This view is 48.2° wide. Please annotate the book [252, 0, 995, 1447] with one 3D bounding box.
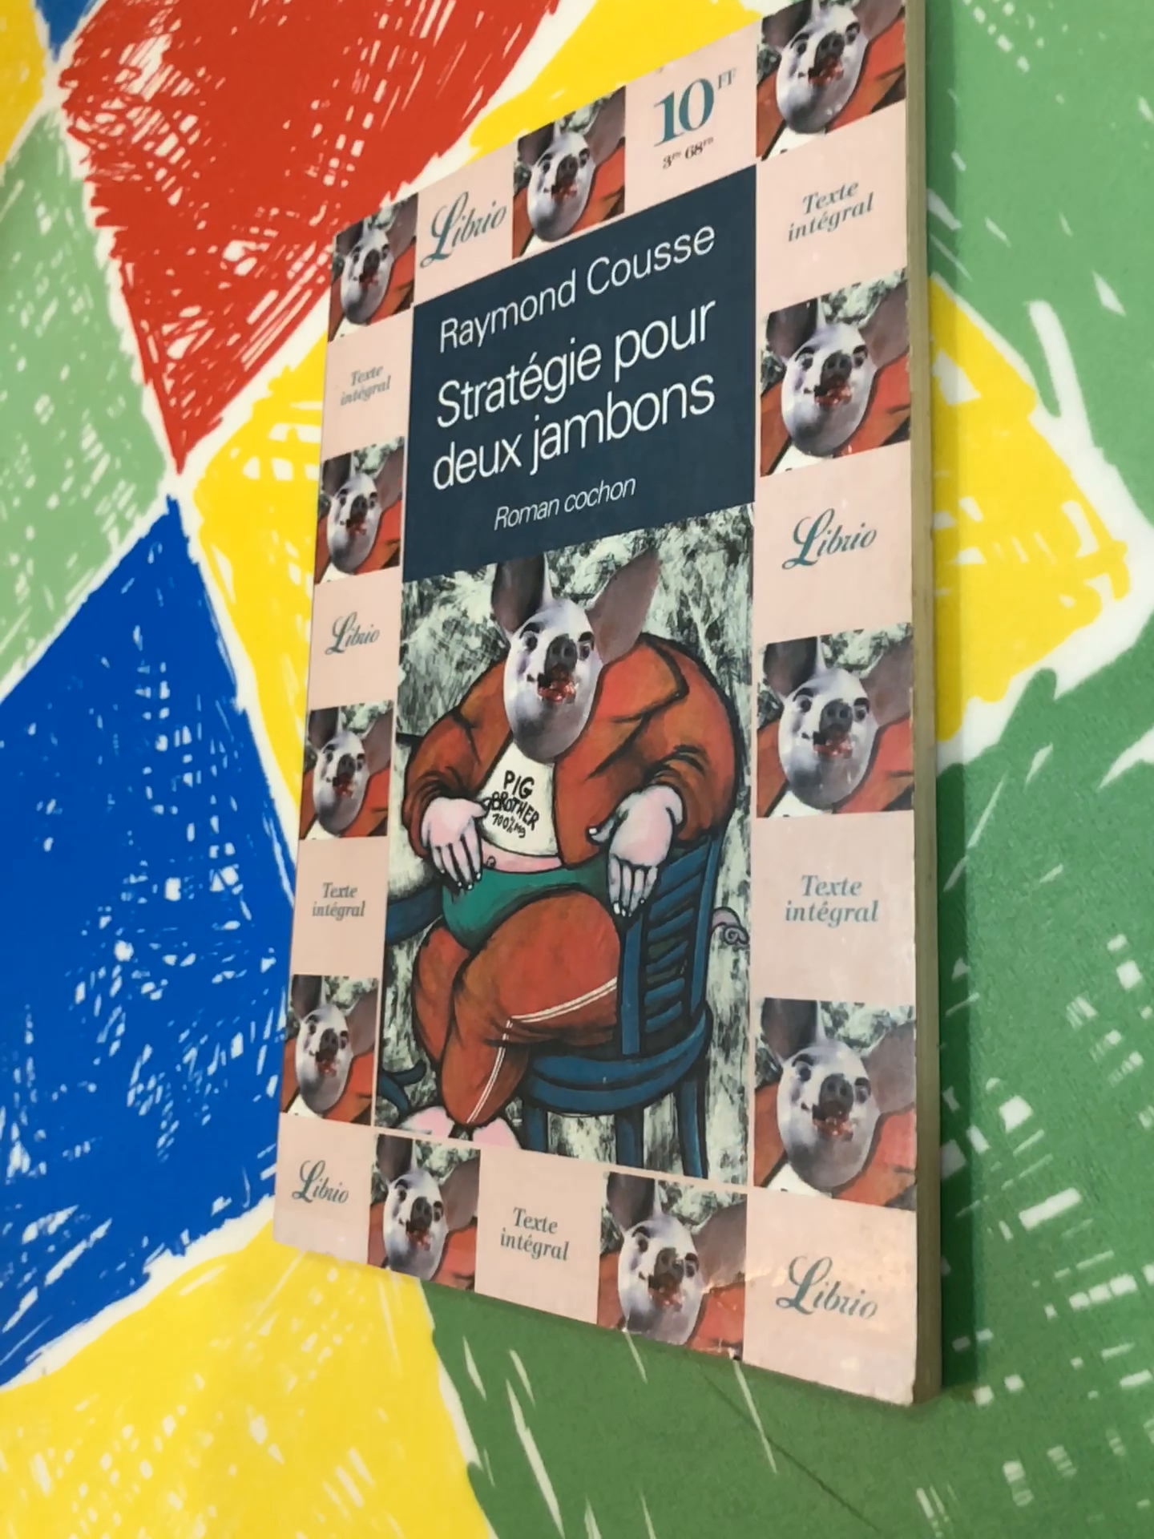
[{"bbox_3d":[-0.001,-0.015,0.208,0.130,0.014,0.197,-5,79,40],"label":"book"}]
